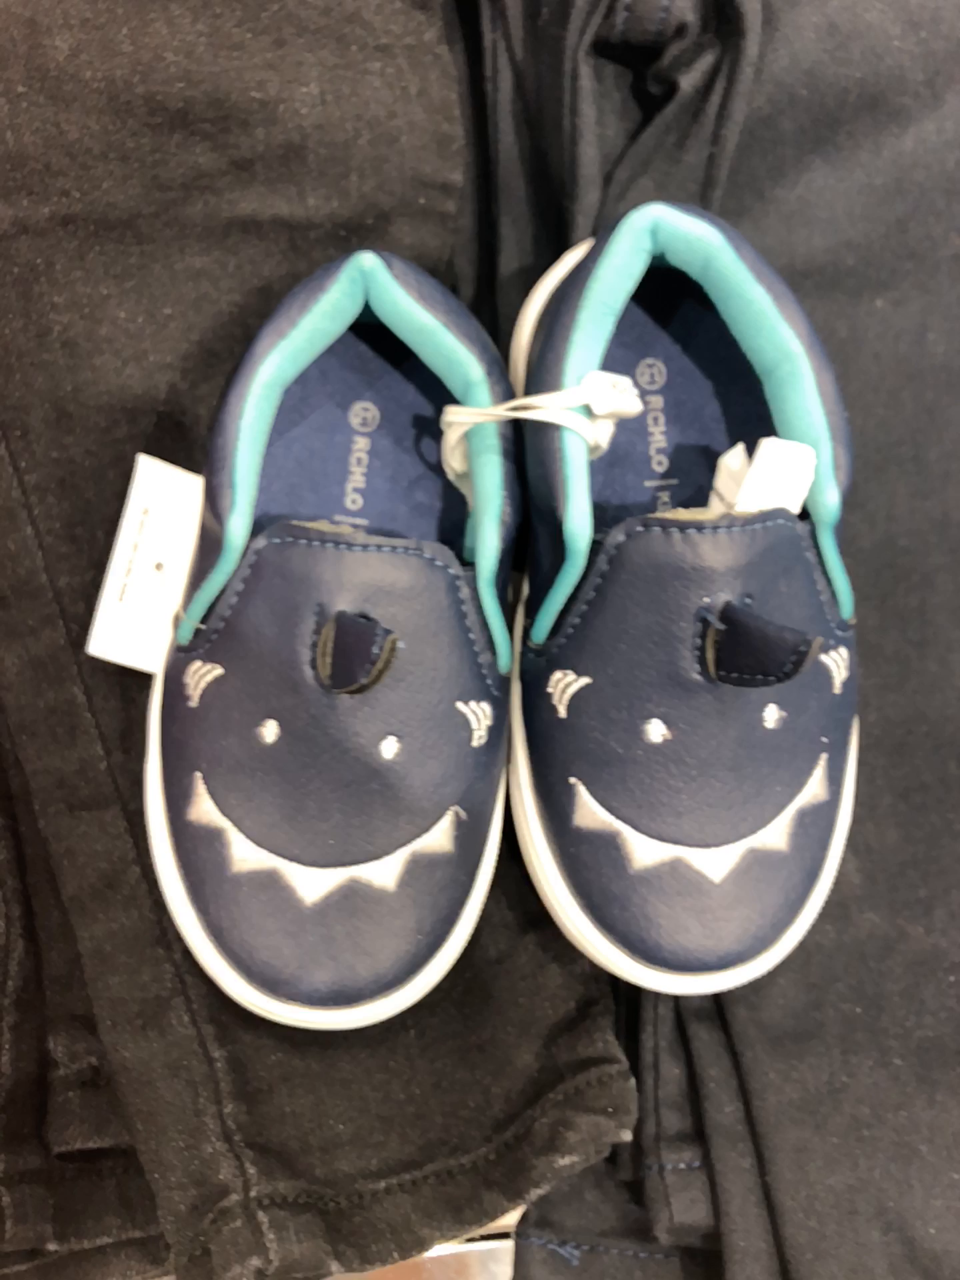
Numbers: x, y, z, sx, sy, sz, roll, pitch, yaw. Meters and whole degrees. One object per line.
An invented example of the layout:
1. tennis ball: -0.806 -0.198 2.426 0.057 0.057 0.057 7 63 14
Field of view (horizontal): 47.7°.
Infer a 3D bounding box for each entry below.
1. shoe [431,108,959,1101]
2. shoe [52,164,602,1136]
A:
1. shoe: 0.044 -0.009 0.195 0.080 0.050 0.150 -7 84 -11
2. shoe: -0.024 0.002 0.197 0.080 0.050 0.150 3 82 -10
